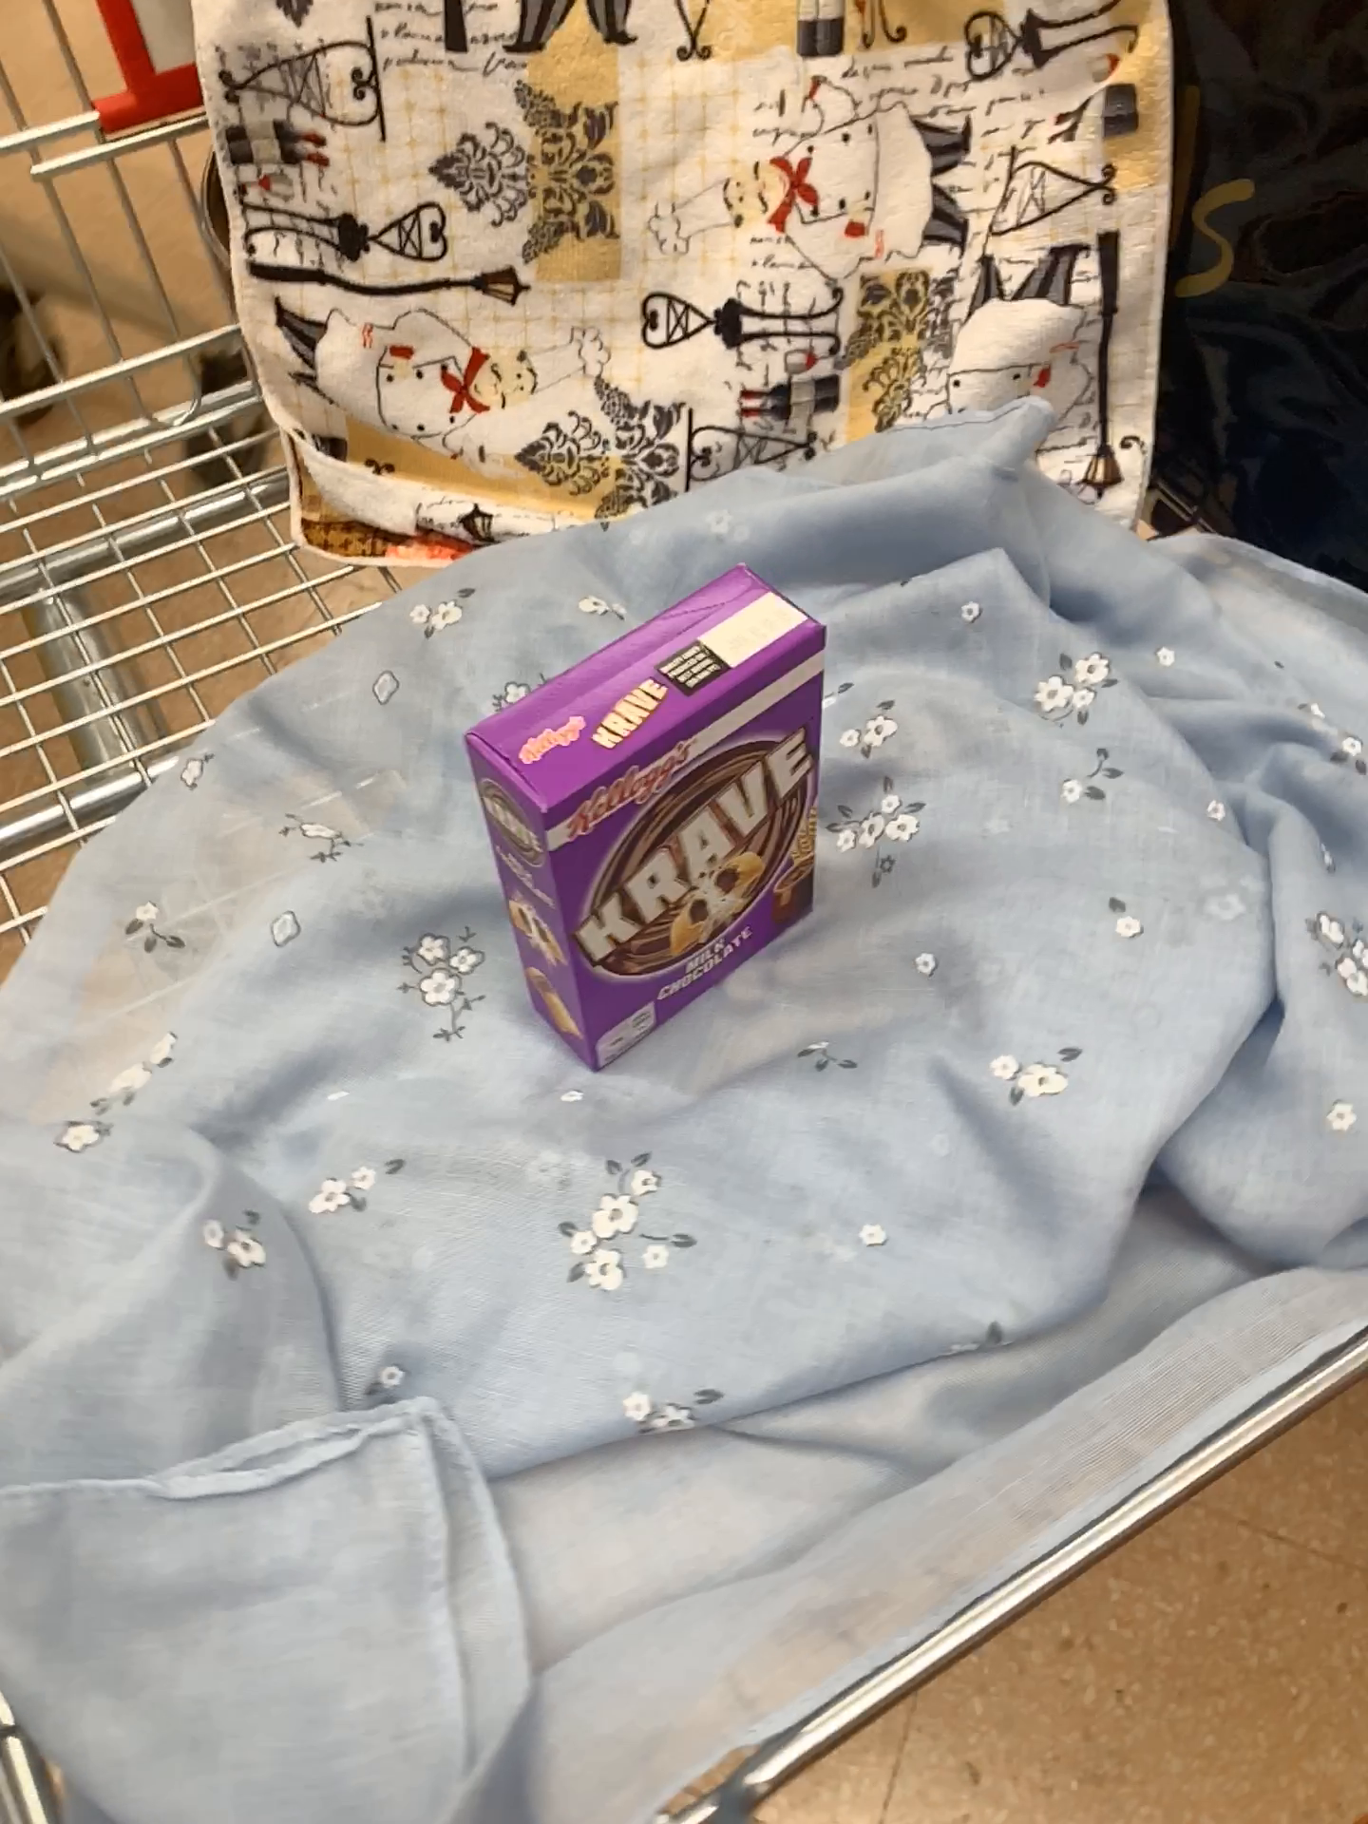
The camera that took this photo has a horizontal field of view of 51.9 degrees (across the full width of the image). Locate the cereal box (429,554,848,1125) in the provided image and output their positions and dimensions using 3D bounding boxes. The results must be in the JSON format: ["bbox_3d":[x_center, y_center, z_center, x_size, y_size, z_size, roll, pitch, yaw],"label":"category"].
[{"bbox_3d":[-0.006,-0.014,0.372,0.090,0.129,0.040,-35,59,-20],"label":"cereal box"}]
